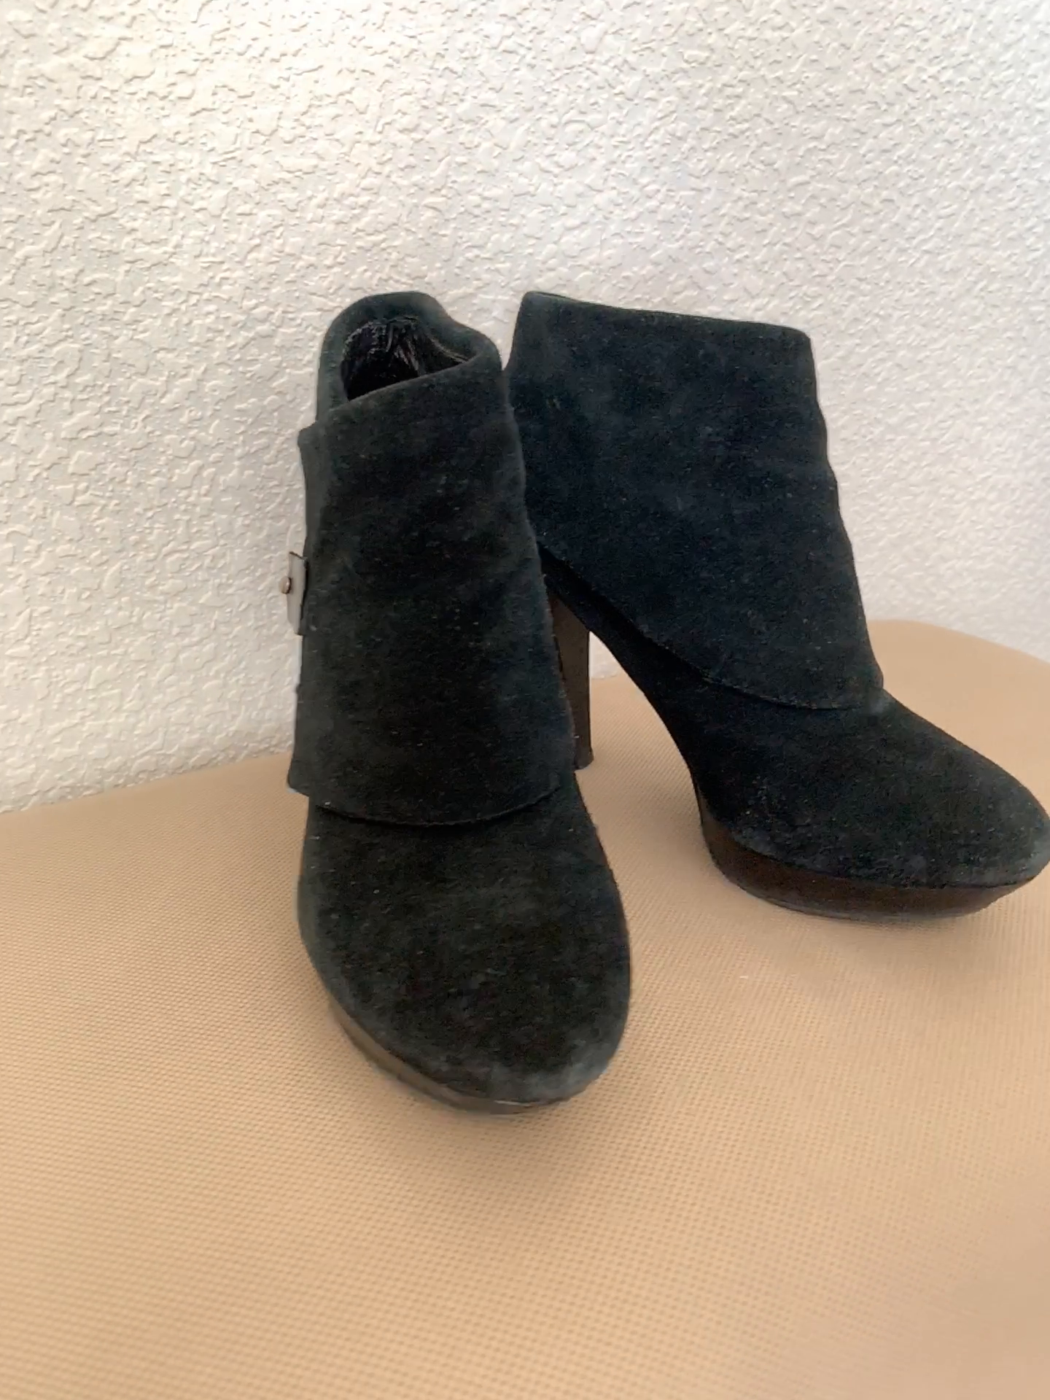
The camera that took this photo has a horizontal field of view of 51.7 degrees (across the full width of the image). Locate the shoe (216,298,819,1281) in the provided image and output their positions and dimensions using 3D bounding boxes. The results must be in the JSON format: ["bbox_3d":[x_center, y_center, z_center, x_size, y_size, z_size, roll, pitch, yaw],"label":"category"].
[{"bbox_3d":[-0.024,-0.007,0.289,0.090,0.166,0.218,-4,27,-12],"label":"shoe"}]

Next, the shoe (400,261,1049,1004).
[{"bbox_3d":[0.069,-0.042,0.347,0.218,0.166,0.090,23,33,36],"label":"shoe"}]
